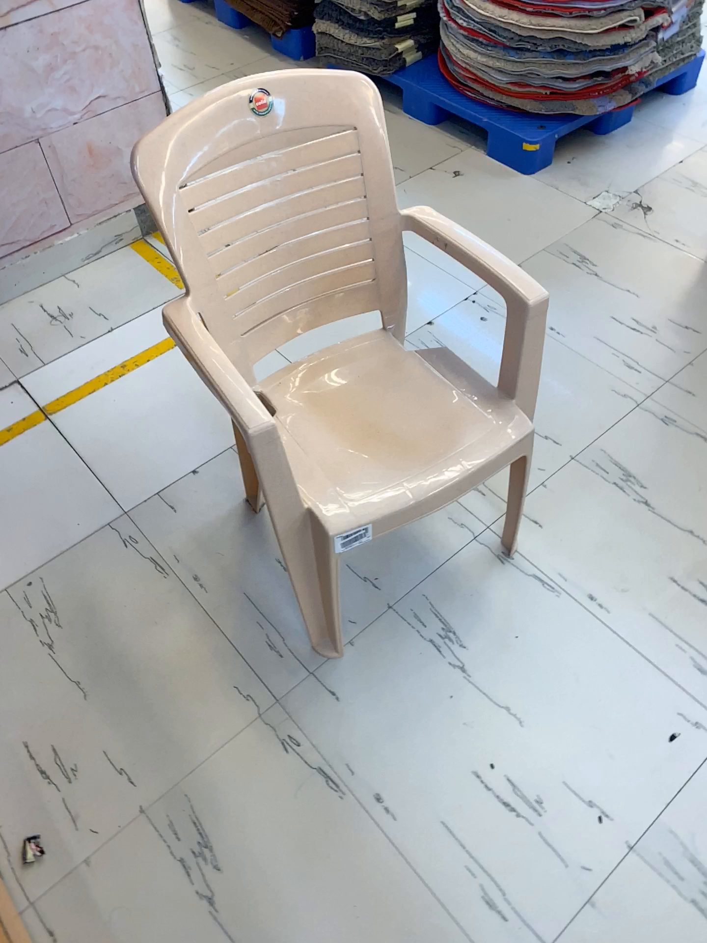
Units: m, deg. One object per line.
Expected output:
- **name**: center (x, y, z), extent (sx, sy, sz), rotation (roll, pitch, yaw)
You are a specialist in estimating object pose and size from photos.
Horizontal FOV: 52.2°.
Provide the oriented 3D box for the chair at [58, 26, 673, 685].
- **chair**: center (-0.001, -0.181, 1.261), extent (0.571, 0.774, 0.624), rotation (-28, 55, -18)
